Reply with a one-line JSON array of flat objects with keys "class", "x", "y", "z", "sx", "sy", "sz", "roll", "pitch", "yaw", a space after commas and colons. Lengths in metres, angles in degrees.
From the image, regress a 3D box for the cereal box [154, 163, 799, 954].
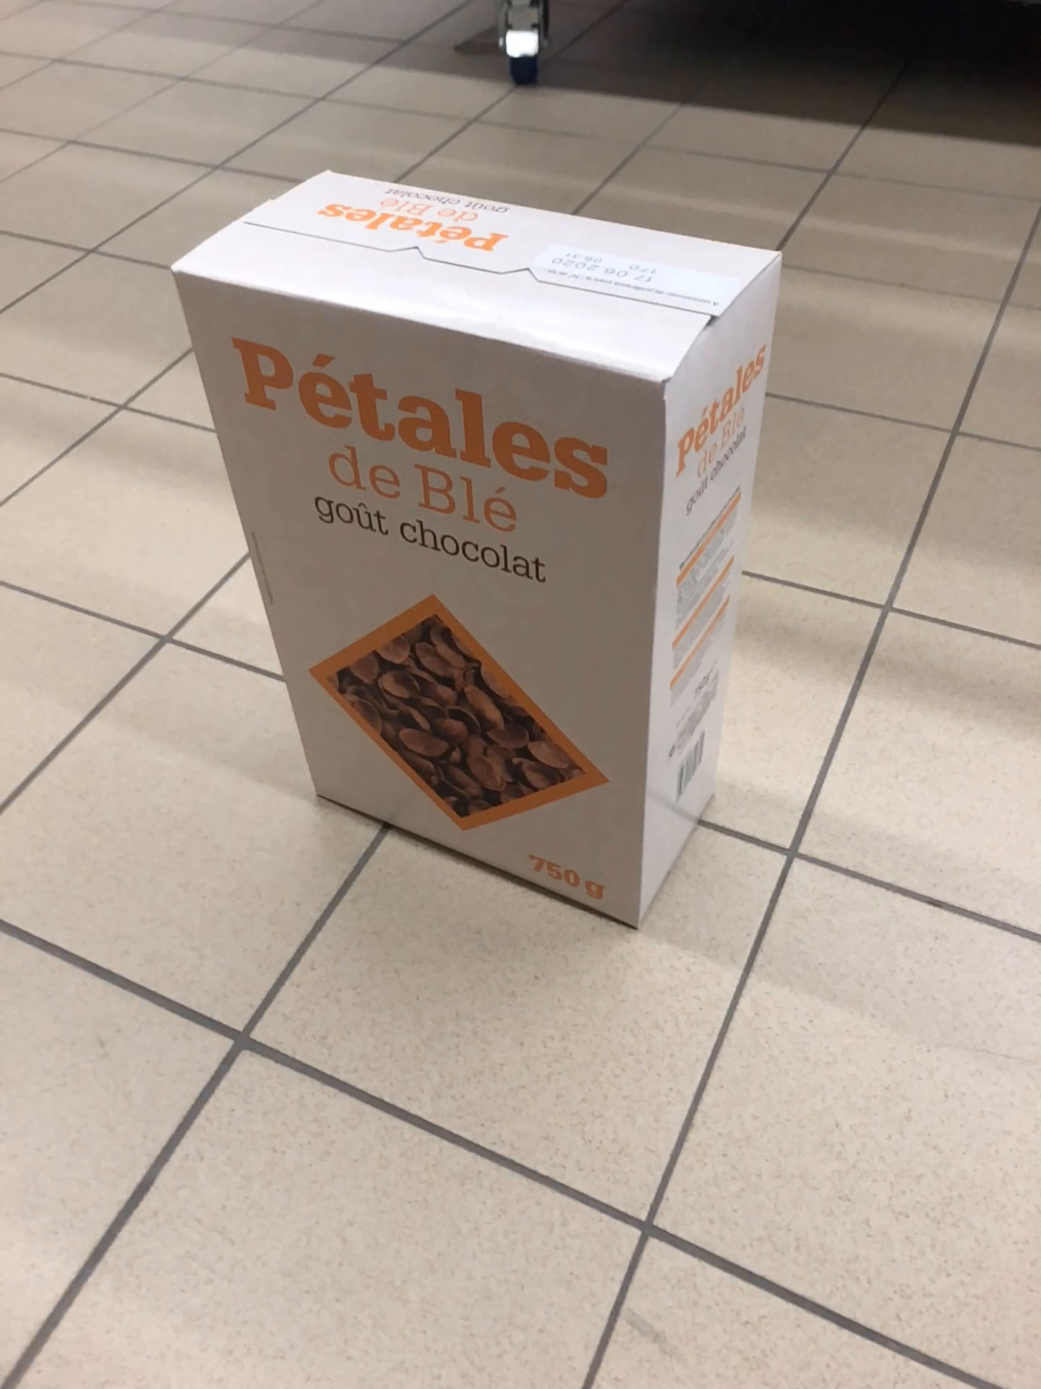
[{"class": "cereal box", "x": -0.009, "y": -0.044, "z": 0.483, "sx": 0.190, "sy": 0.288, "sz": 0.101, "roll": 18, "pitch": 49, "yaw": 20}]
